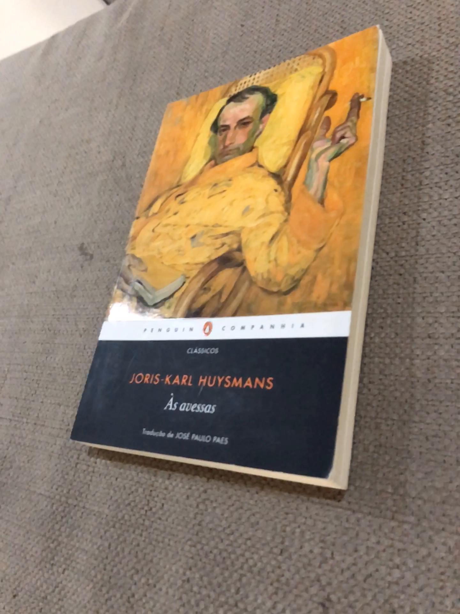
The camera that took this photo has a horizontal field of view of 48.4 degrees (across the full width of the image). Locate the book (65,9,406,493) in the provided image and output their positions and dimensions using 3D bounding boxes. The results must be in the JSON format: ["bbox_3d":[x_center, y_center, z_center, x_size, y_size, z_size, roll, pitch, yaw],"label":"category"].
[{"bbox_3d":[0.003,-0.030,0.233,0.131,0.023,0.196,-3,65,36],"label":"book"}]
